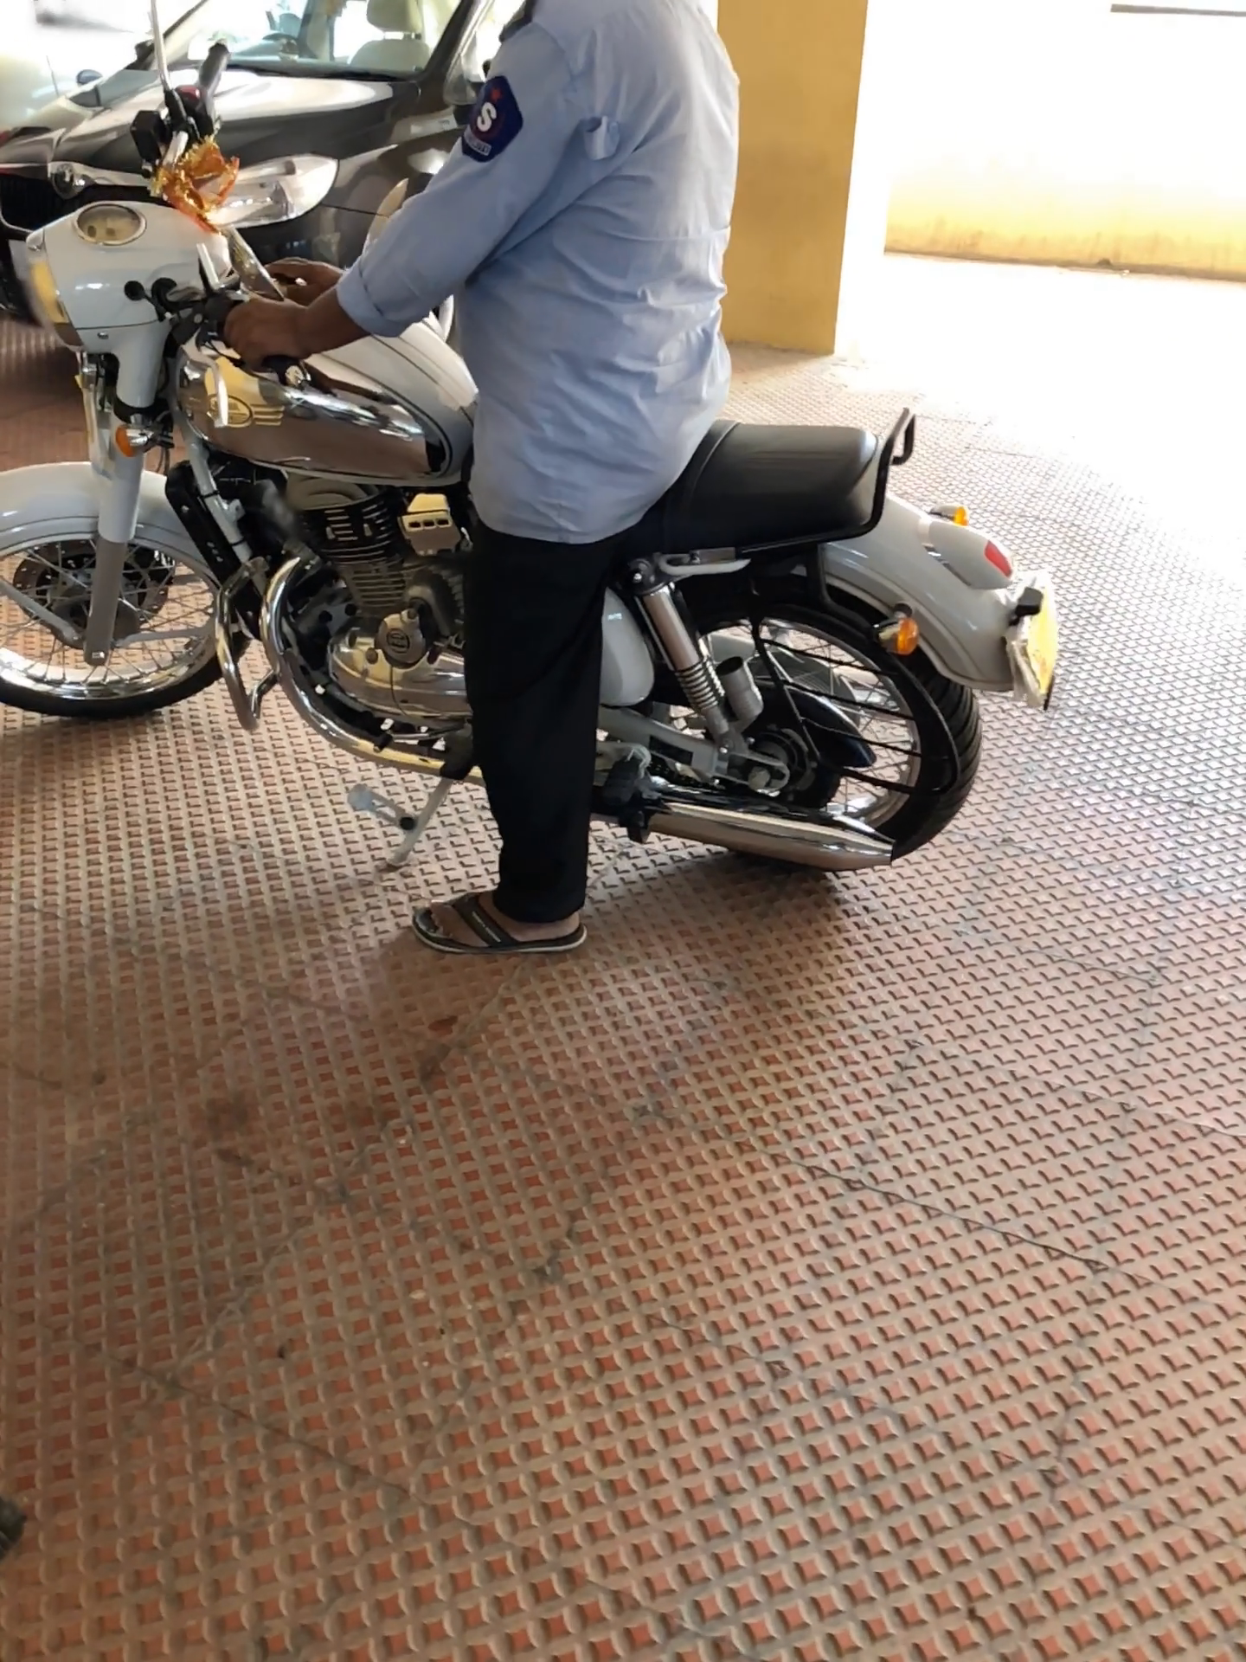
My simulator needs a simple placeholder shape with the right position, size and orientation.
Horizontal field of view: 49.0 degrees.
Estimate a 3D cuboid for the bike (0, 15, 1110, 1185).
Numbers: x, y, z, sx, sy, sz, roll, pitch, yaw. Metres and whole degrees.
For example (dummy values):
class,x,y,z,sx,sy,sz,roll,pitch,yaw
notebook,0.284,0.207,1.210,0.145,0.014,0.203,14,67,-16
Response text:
class,x,y,z,sx,sy,sz,roll,pitch,yaw
bike,-0.424,-0.418,1.992,1.897,1.233,0.850,10,33,12
